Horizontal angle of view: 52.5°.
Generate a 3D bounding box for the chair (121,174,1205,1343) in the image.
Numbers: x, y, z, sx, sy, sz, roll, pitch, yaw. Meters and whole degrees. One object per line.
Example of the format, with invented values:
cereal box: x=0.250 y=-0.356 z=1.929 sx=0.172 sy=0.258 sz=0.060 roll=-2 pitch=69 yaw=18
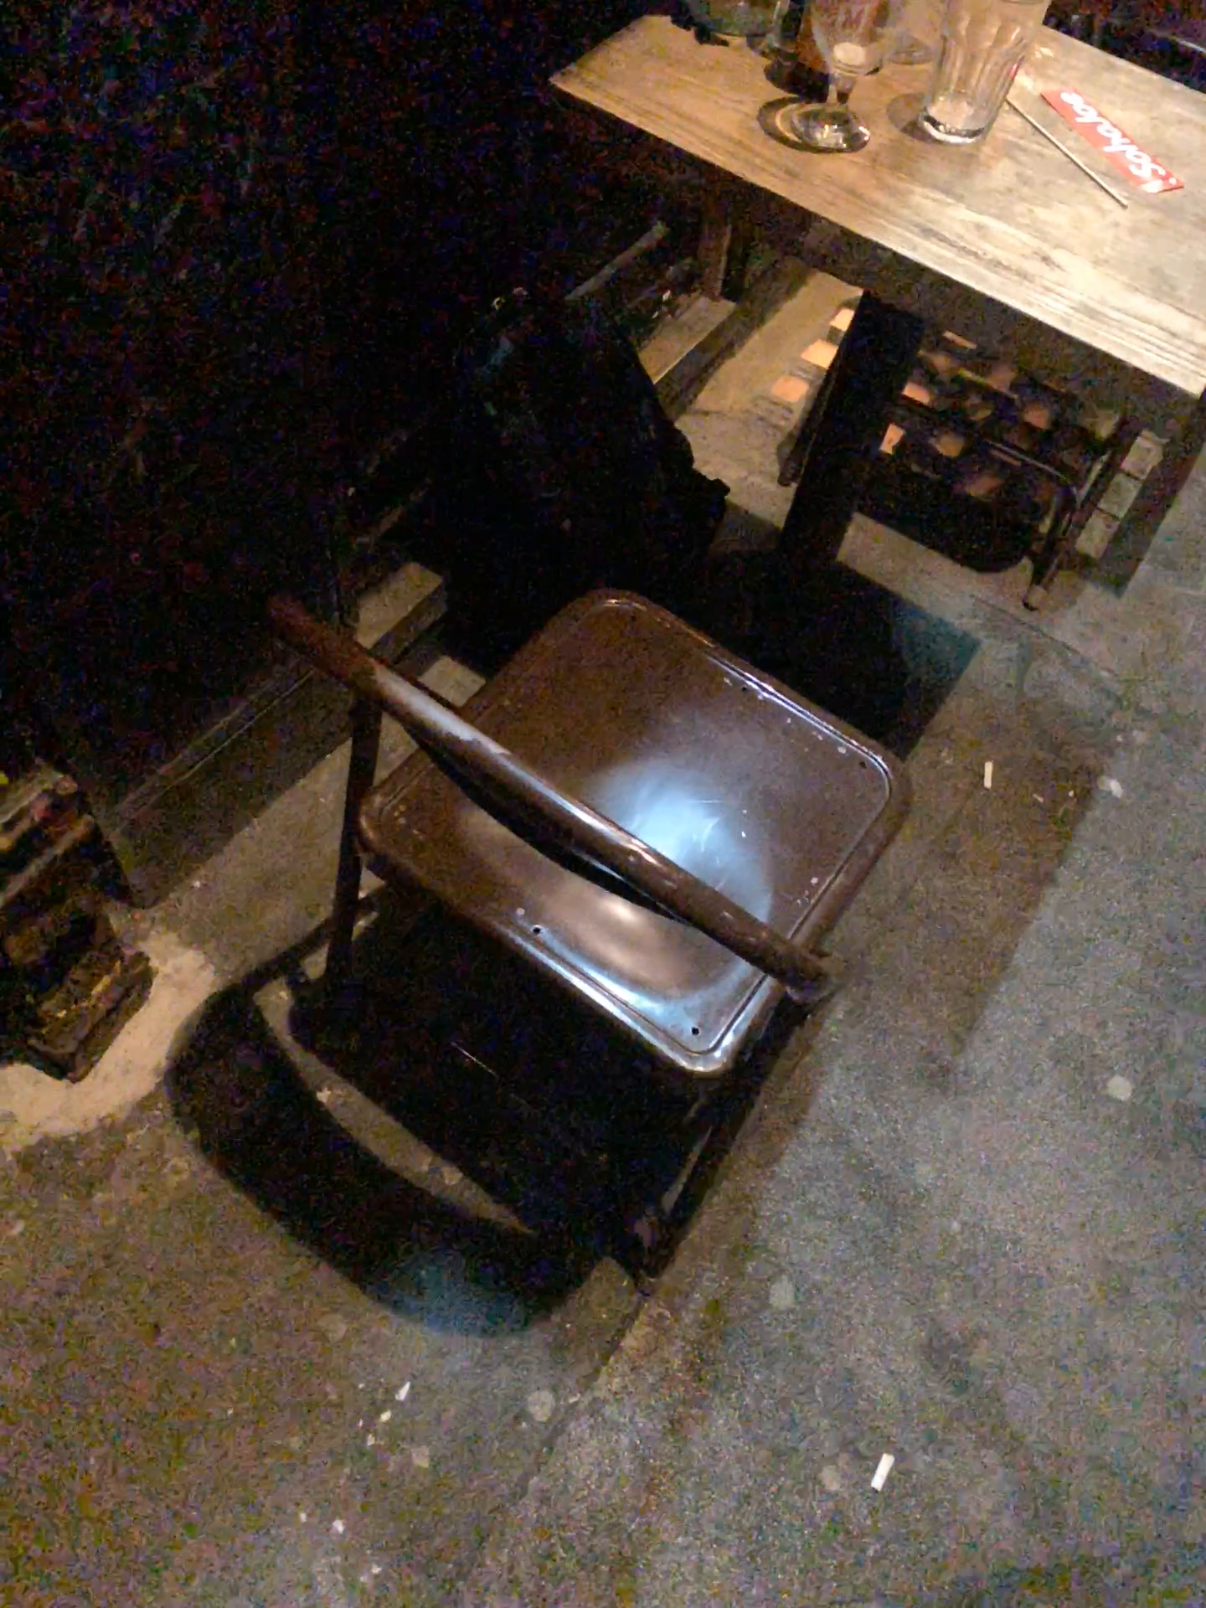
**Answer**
chair: x=0.036 y=0.008 z=1.031 sx=0.491 sy=0.724 sz=0.483 roll=32 pitch=57 yaw=16
